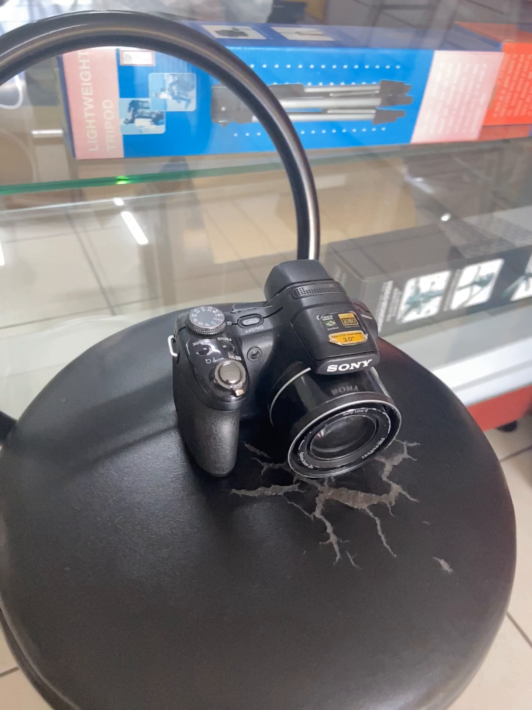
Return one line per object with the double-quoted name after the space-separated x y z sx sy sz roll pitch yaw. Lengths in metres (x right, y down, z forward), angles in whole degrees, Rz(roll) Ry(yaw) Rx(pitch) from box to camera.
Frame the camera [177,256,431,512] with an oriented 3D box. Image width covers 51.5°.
0.011 0.010 0.303 0.100 0.079 0.101 -8 43 -16 "camera"
